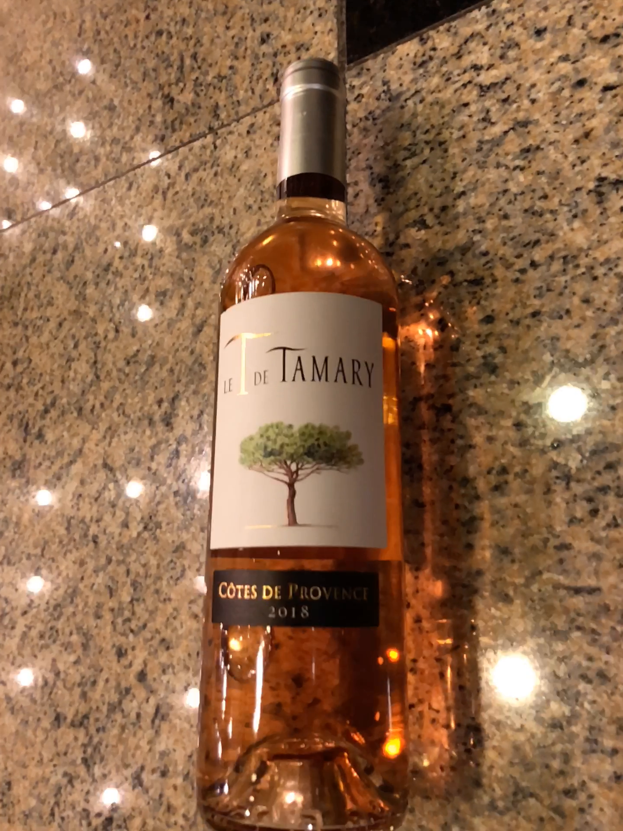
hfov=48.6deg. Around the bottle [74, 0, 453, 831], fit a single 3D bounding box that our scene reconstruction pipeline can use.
[{"bbox_3d":[-0.013,-0.032,0.258,0.090,0.080,0.320,-9,73,33],"label":"bottle"}]
